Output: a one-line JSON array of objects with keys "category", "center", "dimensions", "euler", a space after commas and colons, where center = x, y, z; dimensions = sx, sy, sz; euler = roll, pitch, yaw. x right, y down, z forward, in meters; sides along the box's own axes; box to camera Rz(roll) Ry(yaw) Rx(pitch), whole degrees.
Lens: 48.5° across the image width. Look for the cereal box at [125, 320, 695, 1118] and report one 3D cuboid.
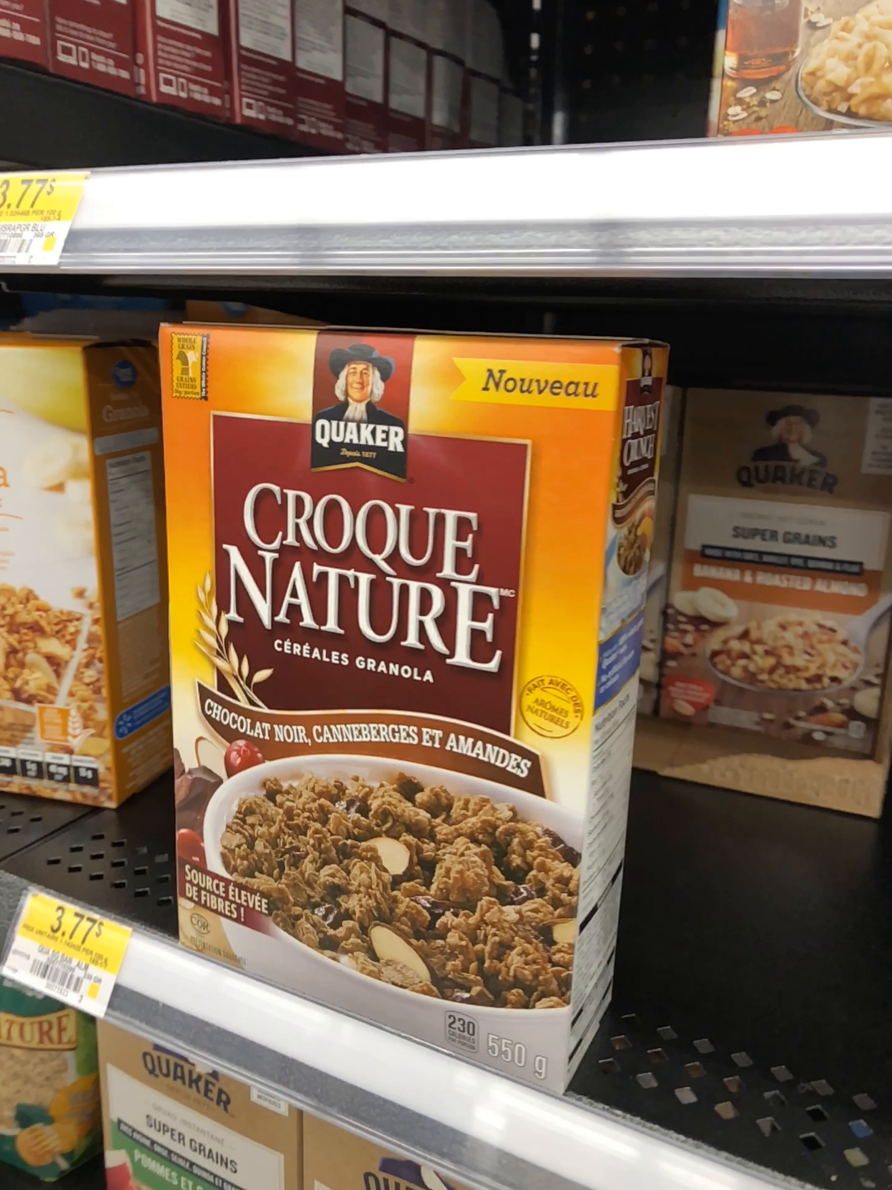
[{"category": "cereal box", "center": [-0.018, 0.029, 0.330], "dimensions": [0.170, 0.229, 0.050], "euler": [9, 17, 26]}]
